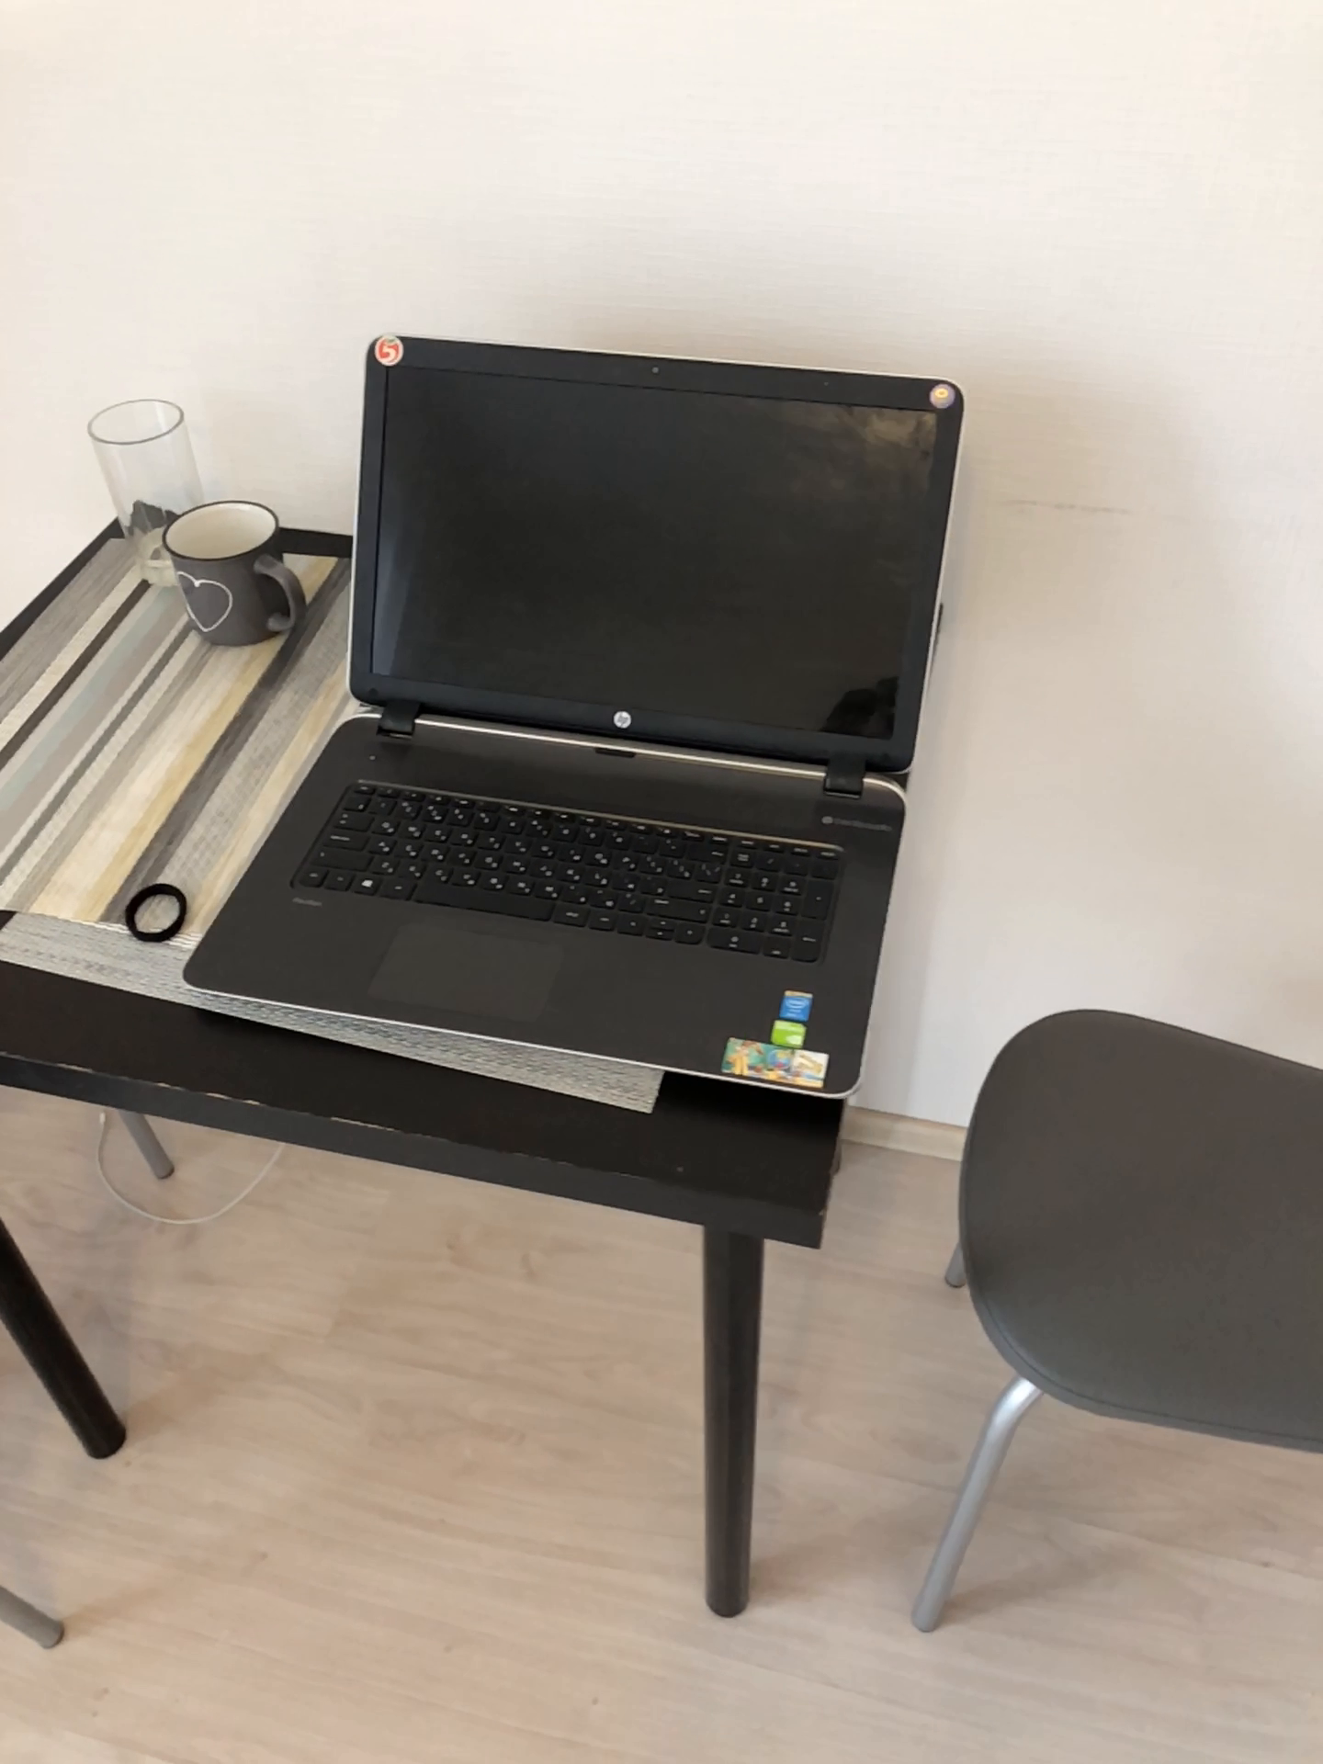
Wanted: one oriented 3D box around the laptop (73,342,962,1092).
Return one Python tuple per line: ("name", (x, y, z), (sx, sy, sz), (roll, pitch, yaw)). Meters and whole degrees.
("laptop", (-0.050, -0.133, 0.933), (0.415, 0.227, 0.414), (9, 44, 11))
